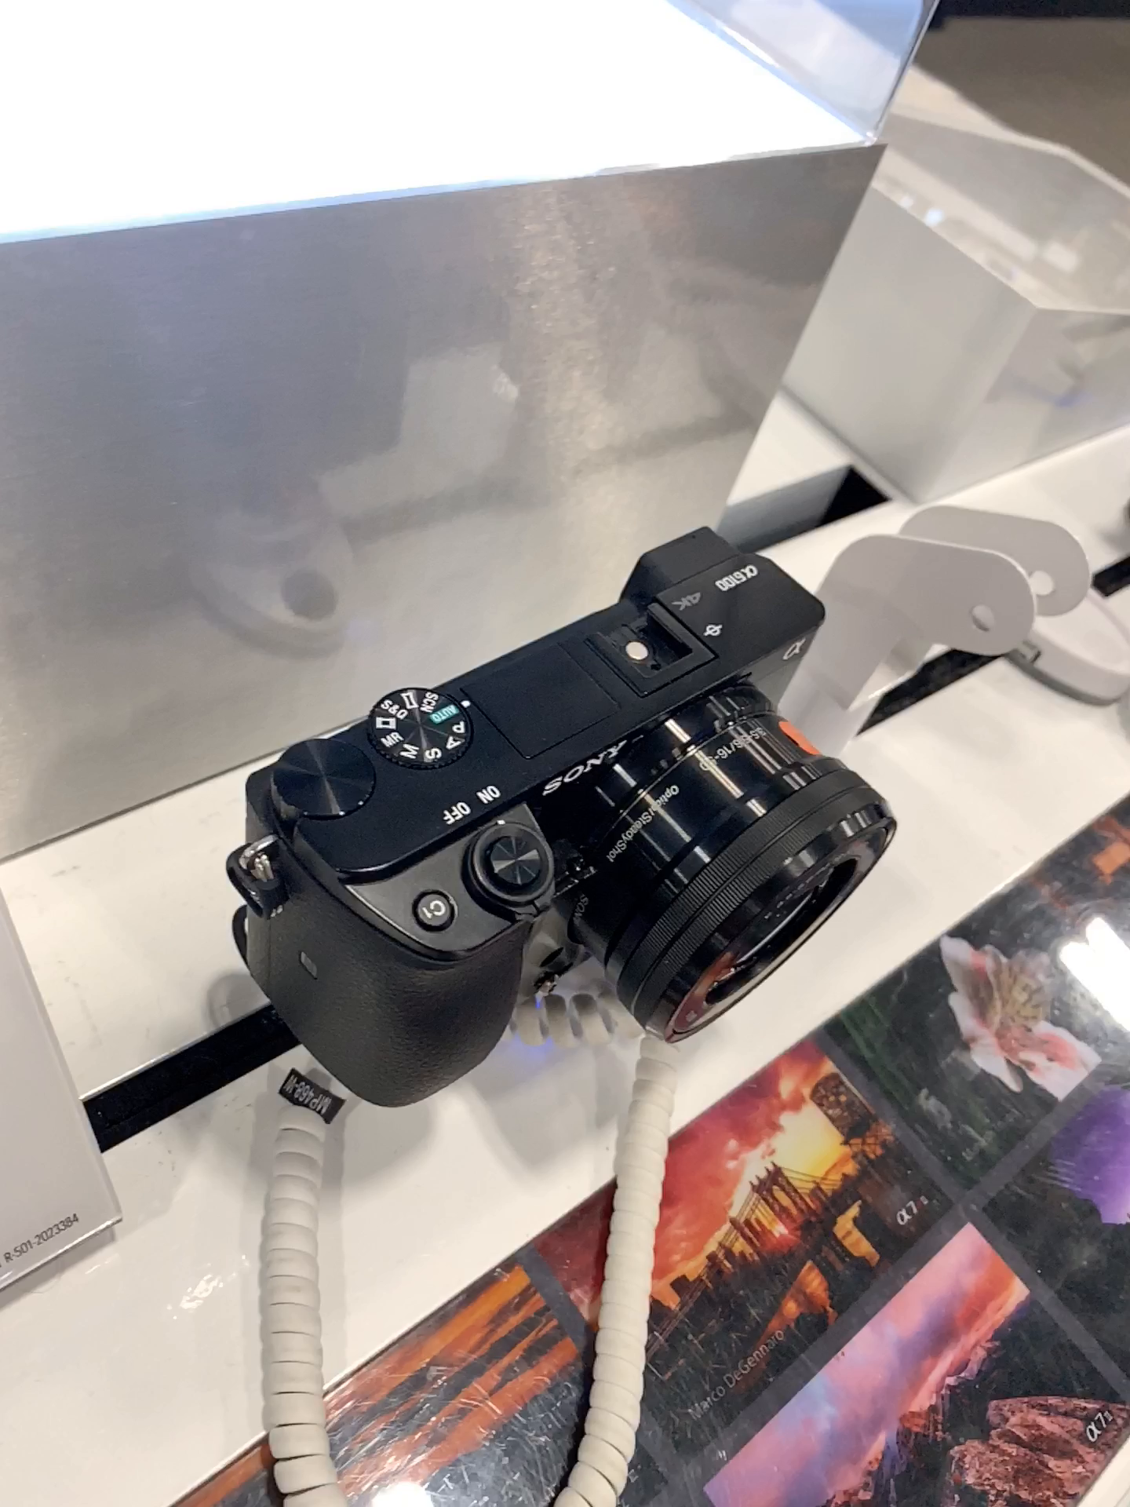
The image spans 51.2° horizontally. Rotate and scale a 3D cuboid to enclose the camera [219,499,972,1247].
[{"bbox_3d":[0.006,0.017,0.231,0.070,0.070,0.121,43,51,17],"label":"camera"}]
